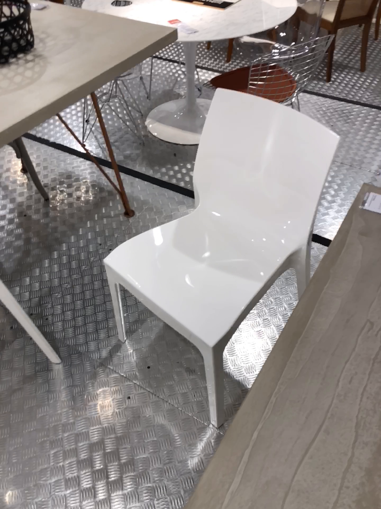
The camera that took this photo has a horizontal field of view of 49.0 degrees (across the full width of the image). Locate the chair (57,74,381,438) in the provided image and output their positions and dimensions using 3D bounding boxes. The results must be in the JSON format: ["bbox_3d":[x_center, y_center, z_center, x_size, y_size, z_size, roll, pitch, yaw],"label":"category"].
[{"bbox_3d":[0.079,0.012,1.234,0.522,0.764,0.542,34,56,29],"label":"chair"}]
